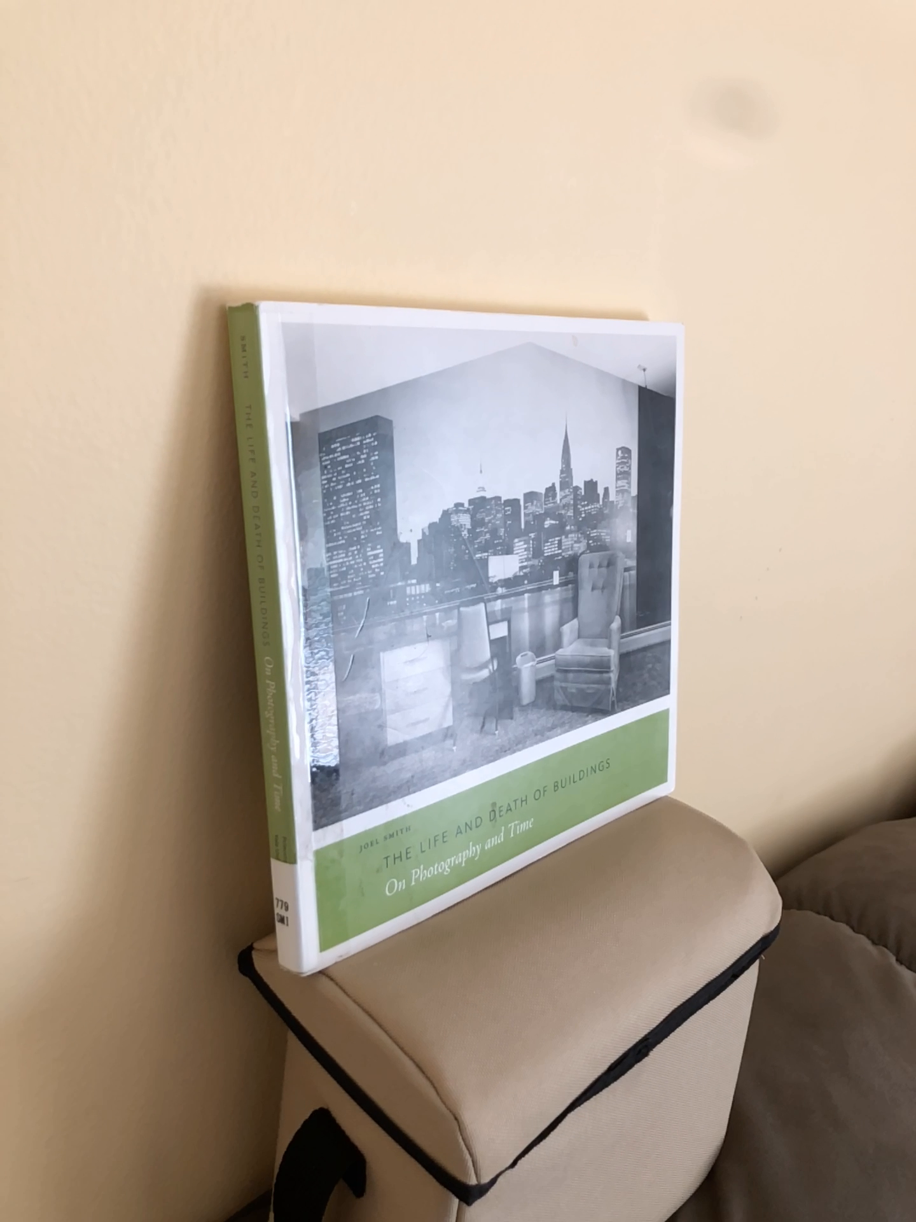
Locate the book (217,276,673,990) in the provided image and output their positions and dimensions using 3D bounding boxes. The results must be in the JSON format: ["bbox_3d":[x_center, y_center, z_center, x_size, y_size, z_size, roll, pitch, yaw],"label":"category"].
[{"bbox_3d":[0.015,-0.005,0.371,0.020,0.204,0.216,6,13,41],"label":"book"}]
